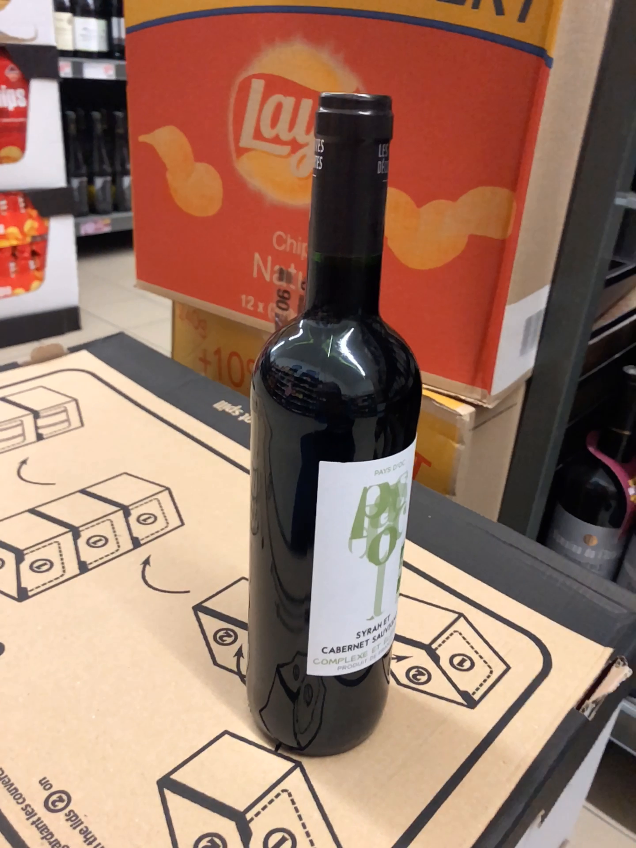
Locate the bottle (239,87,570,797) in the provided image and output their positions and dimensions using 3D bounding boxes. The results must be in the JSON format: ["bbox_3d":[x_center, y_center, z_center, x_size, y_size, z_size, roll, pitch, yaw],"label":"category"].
[{"bbox_3d":[0.024,0.015,0.321,0.090,0.298,0.080,-18,32,-37],"label":"bottle"}]
